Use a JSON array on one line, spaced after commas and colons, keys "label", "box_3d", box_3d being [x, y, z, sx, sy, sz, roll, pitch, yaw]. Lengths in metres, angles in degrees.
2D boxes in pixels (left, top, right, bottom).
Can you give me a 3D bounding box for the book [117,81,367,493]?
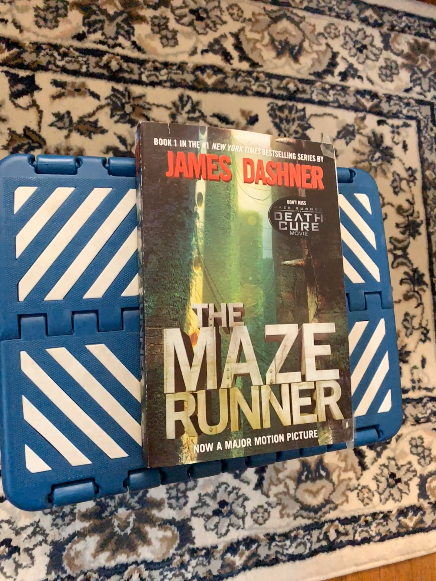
[{"label": "book", "box_3d": [0.015, -0.006, 0.289, 0.150, 0.030, 0.230, 0, 83, -19]}]
